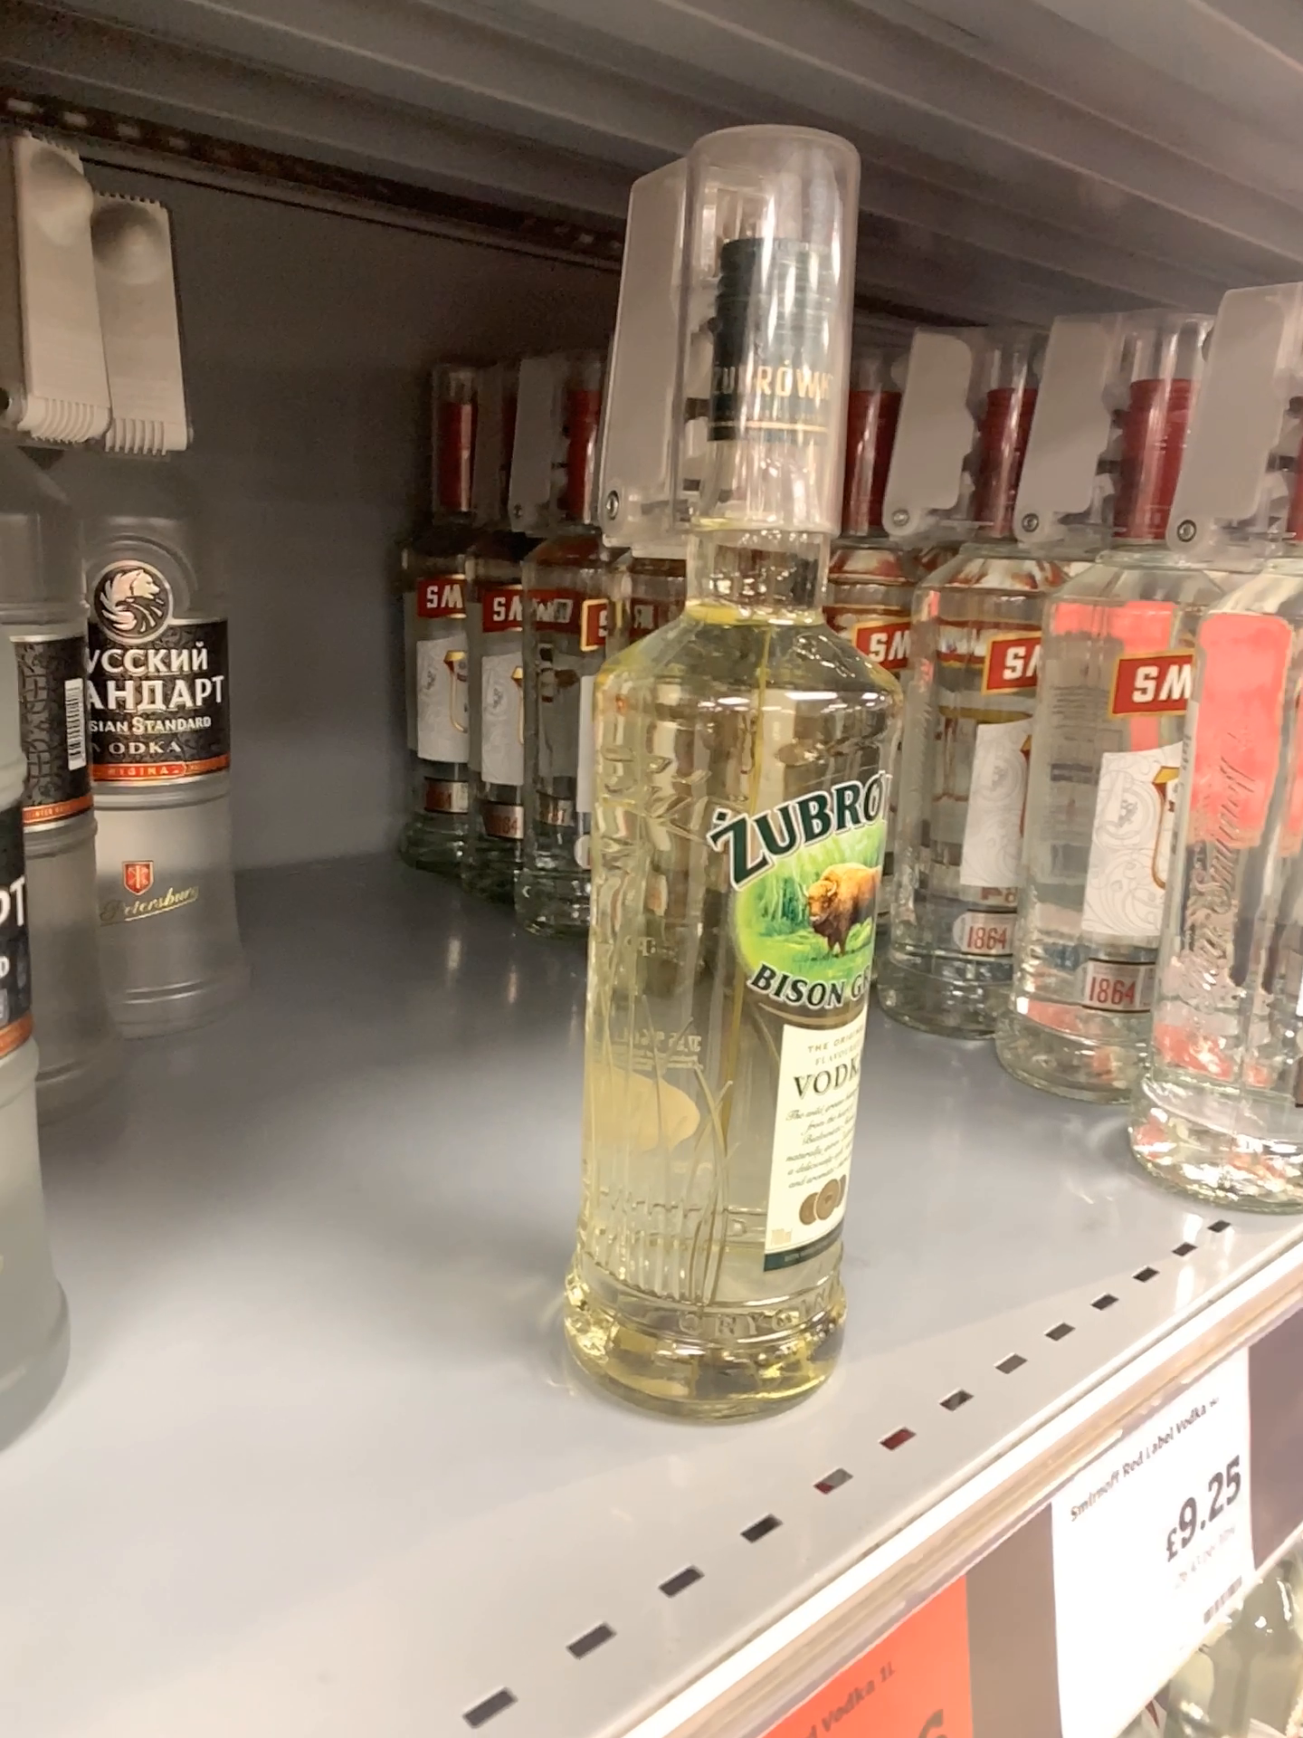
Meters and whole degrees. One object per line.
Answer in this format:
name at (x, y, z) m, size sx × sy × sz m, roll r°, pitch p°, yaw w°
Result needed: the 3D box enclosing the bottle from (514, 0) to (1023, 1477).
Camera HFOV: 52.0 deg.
bottle at (0.022, -0.021, 0.322) m, size 0.076 × 0.303 × 0.069 m, roll -10°, pitch 18°, yaw -43°
